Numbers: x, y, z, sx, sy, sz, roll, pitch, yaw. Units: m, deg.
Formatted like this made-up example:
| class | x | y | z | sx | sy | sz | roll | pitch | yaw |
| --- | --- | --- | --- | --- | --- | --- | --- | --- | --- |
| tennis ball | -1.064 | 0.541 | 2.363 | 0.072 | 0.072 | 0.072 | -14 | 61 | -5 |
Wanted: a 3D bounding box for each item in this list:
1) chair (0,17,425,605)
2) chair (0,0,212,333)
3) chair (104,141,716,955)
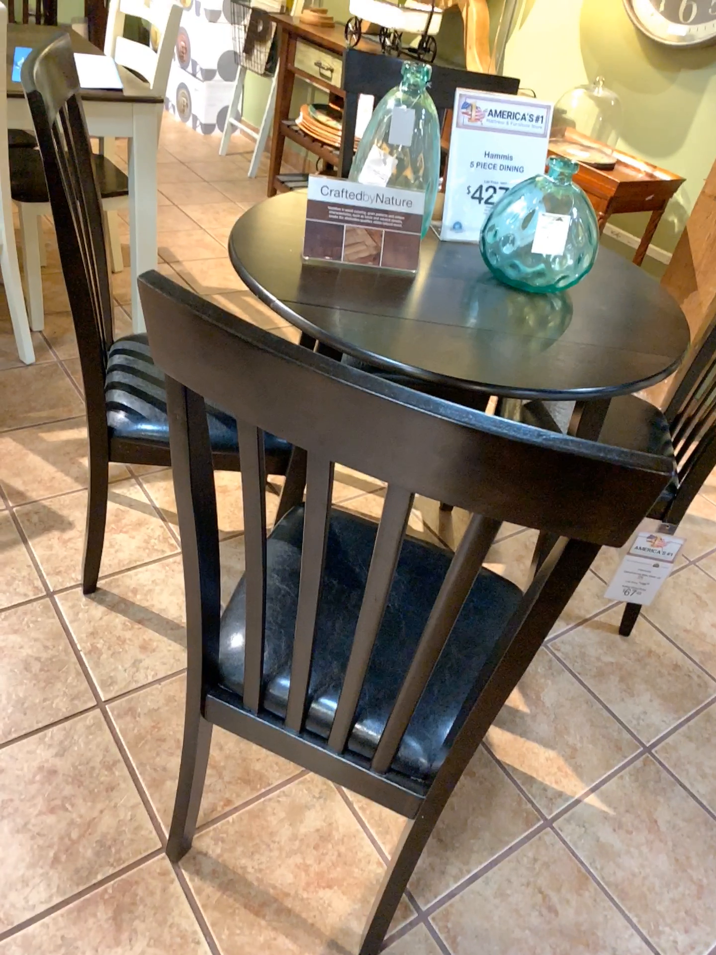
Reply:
| class | x | y | z | sx | sy | sz | roll | pitch | yaw |
| --- | --- | --- | --- | --- | --- | --- | --- | --- | --- |
| chair | -0.289 | -0.244 | 1.365 | 0.541 | 0.933 | 0.386 | -2 | 40 | -17 |
| chair | -0.764 | -0.937 | 2.148 | 0.522 | 0.884 | 0.405 | -10 | 43 | -27 |
| chair | 0.052 | 0.143 | 0.980 | 0.454 | 0.923 | 0.564 | 21 | 38 | 12 |
